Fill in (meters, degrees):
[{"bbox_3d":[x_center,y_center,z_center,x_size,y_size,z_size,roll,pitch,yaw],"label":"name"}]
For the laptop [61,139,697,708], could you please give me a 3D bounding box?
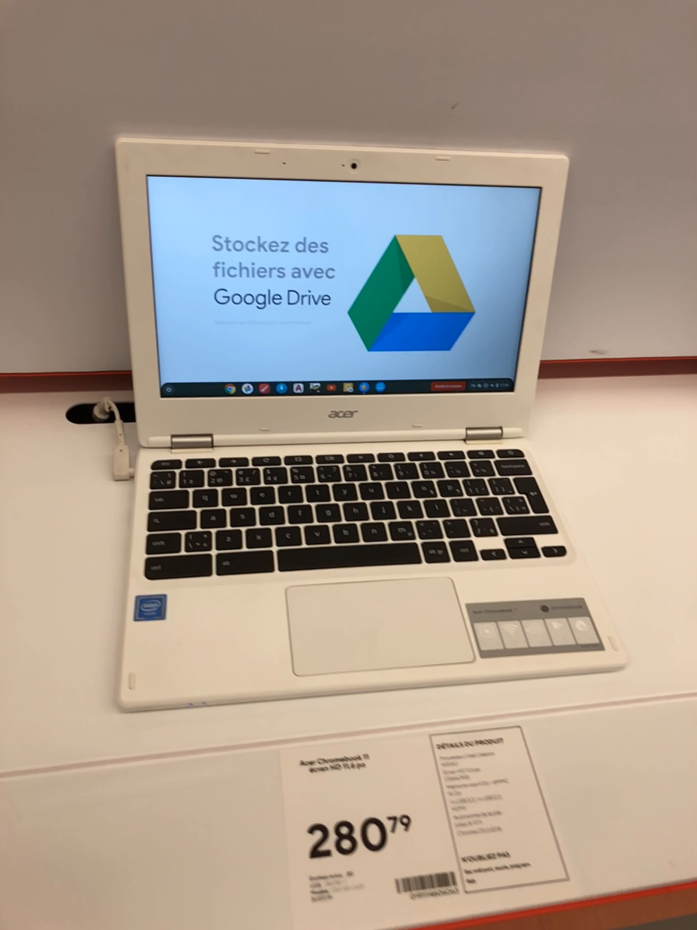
[{"bbox_3d":[0.012,-0.038,0.447,0.282,0.188,0.260,-2,45,-10],"label":"laptop"}]
